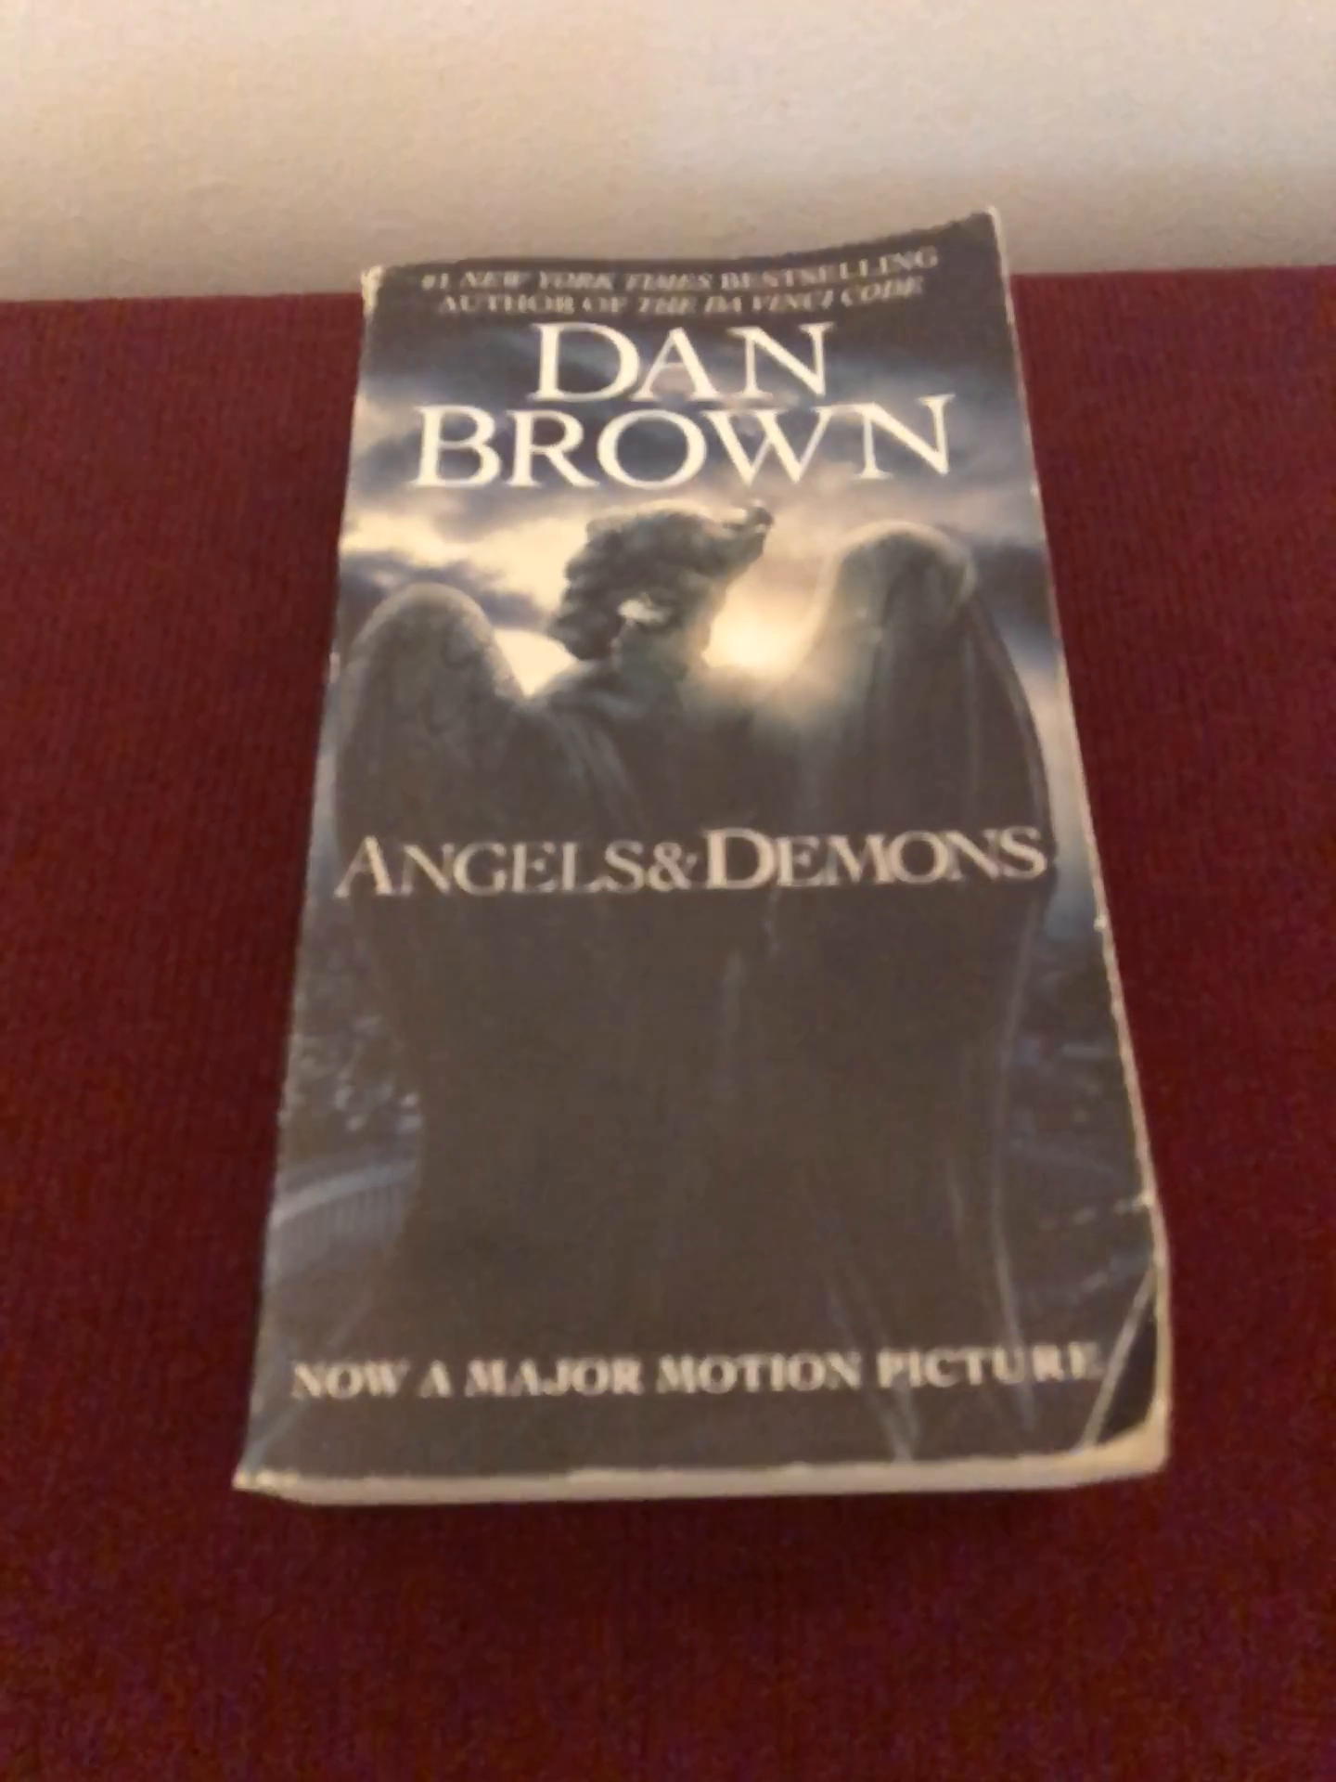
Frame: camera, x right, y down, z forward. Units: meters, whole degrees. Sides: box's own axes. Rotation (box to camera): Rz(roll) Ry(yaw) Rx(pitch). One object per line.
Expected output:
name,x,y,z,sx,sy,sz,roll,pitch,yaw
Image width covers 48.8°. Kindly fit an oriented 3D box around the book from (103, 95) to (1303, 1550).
book,0.001,-0.023,0.213,0.120,0.040,0.211,-3,63,4
